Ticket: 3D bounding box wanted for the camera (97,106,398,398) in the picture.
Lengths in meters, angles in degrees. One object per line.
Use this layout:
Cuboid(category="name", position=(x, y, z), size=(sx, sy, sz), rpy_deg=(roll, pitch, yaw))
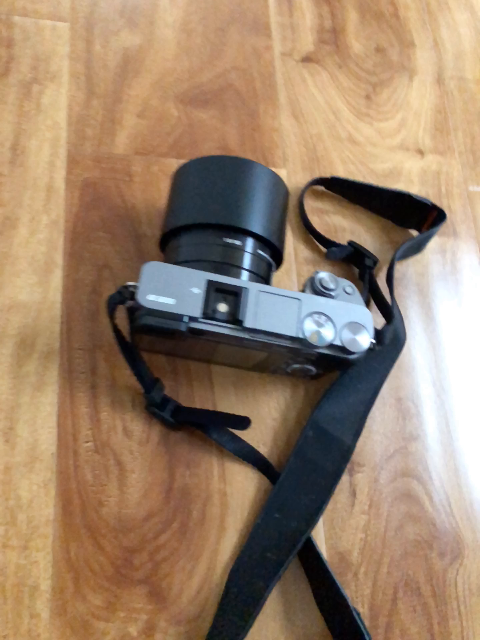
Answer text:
Cuboid(category="camera", position=(0.003, -0.029, 0.295), size=(0.140, 0.080, 0.110), rpy_deg=(11, 69, -12))
